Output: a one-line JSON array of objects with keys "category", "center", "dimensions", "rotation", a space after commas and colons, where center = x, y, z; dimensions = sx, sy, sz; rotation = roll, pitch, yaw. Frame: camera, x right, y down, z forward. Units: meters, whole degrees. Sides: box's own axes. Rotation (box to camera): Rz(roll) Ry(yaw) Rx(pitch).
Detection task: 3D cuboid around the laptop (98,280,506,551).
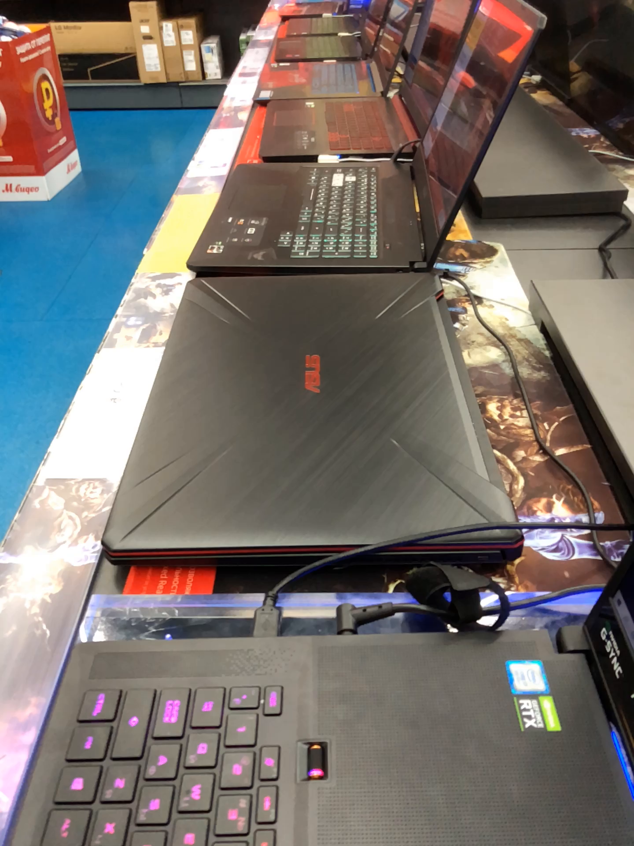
[{"category": "laptop", "center": [-0.009, -0.038, 0.589], "dimensions": [0.252, 0.002, 0.390], "rotation": [-1, 36, 0]}]
